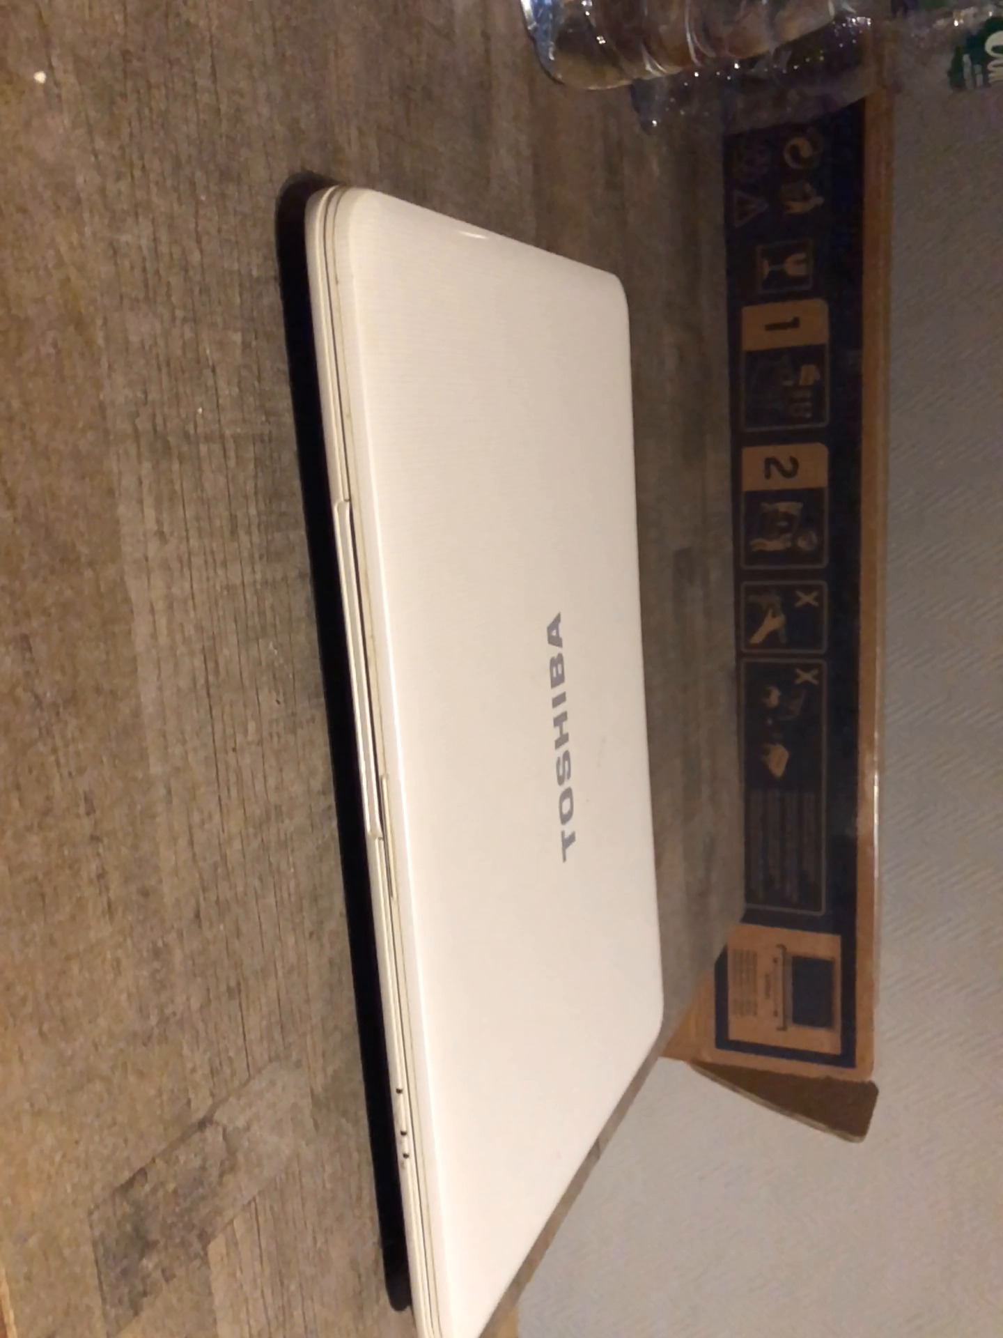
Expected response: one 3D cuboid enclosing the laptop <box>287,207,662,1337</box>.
[{"bbox_3d":[0.011,0.029,0.454,0.228,0.020,0.376,-24,112,-62],"label":"laptop"}]
